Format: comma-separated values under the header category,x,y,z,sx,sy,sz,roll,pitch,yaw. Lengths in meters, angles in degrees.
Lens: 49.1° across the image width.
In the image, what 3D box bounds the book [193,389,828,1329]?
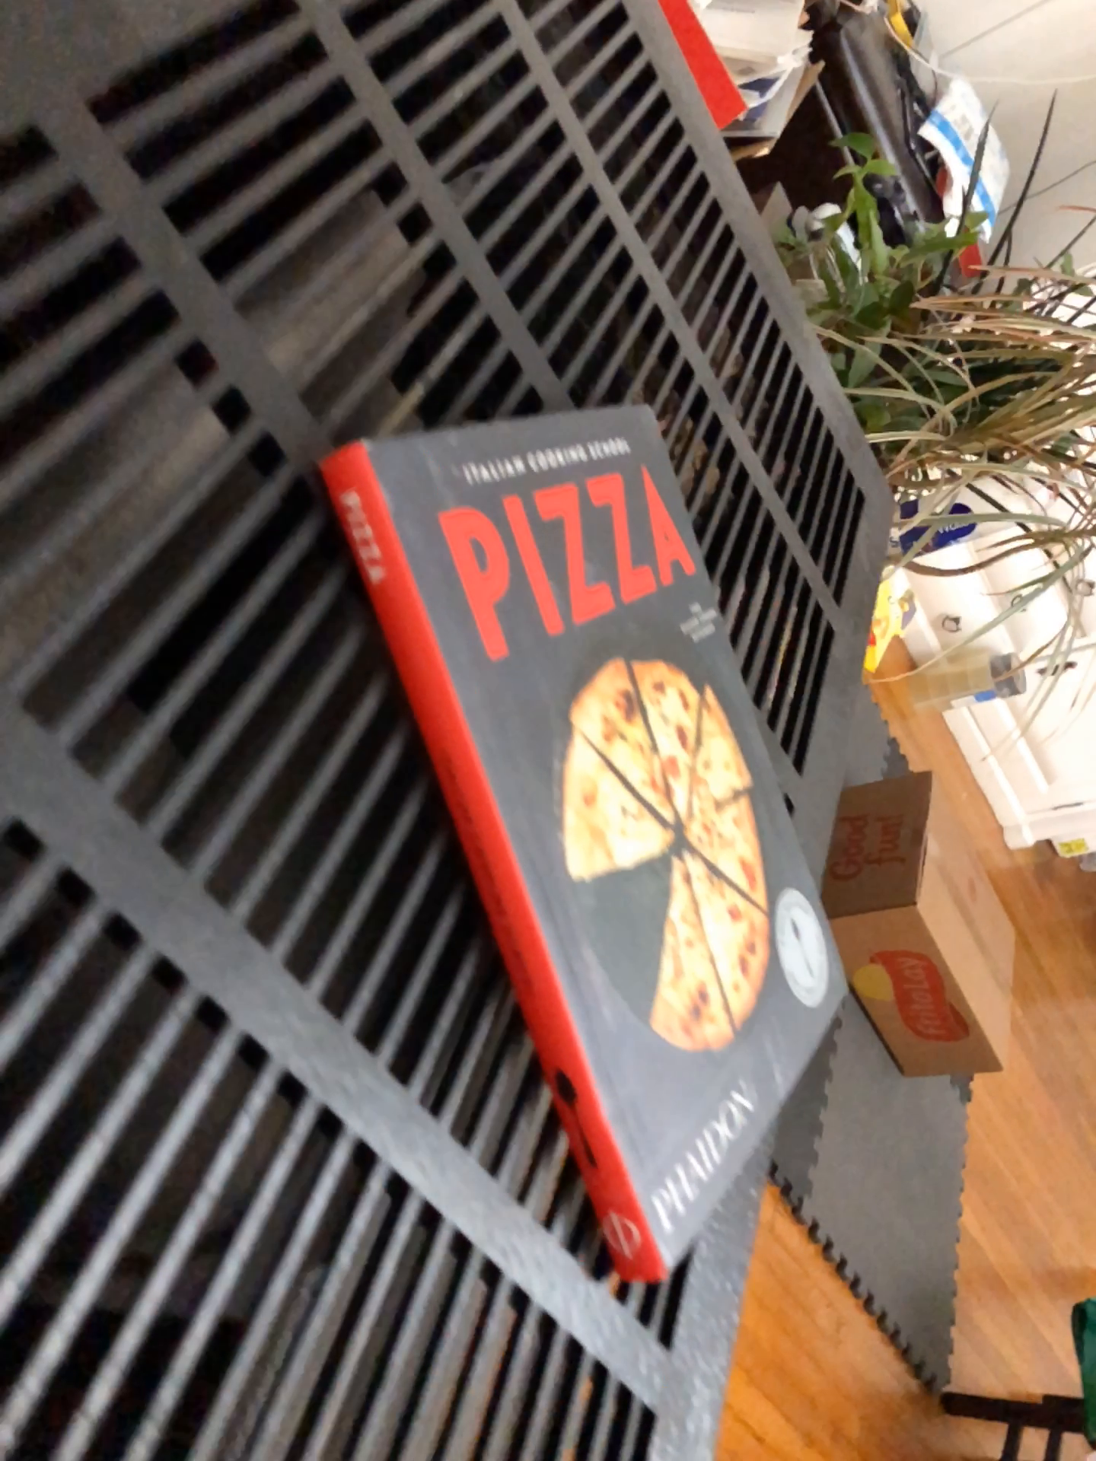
category,x,y,z,sx,sy,sz,roll,pitch,yaw
book,0.010,0.016,0.362,0.181,0.020,0.230,-30,101,-55
